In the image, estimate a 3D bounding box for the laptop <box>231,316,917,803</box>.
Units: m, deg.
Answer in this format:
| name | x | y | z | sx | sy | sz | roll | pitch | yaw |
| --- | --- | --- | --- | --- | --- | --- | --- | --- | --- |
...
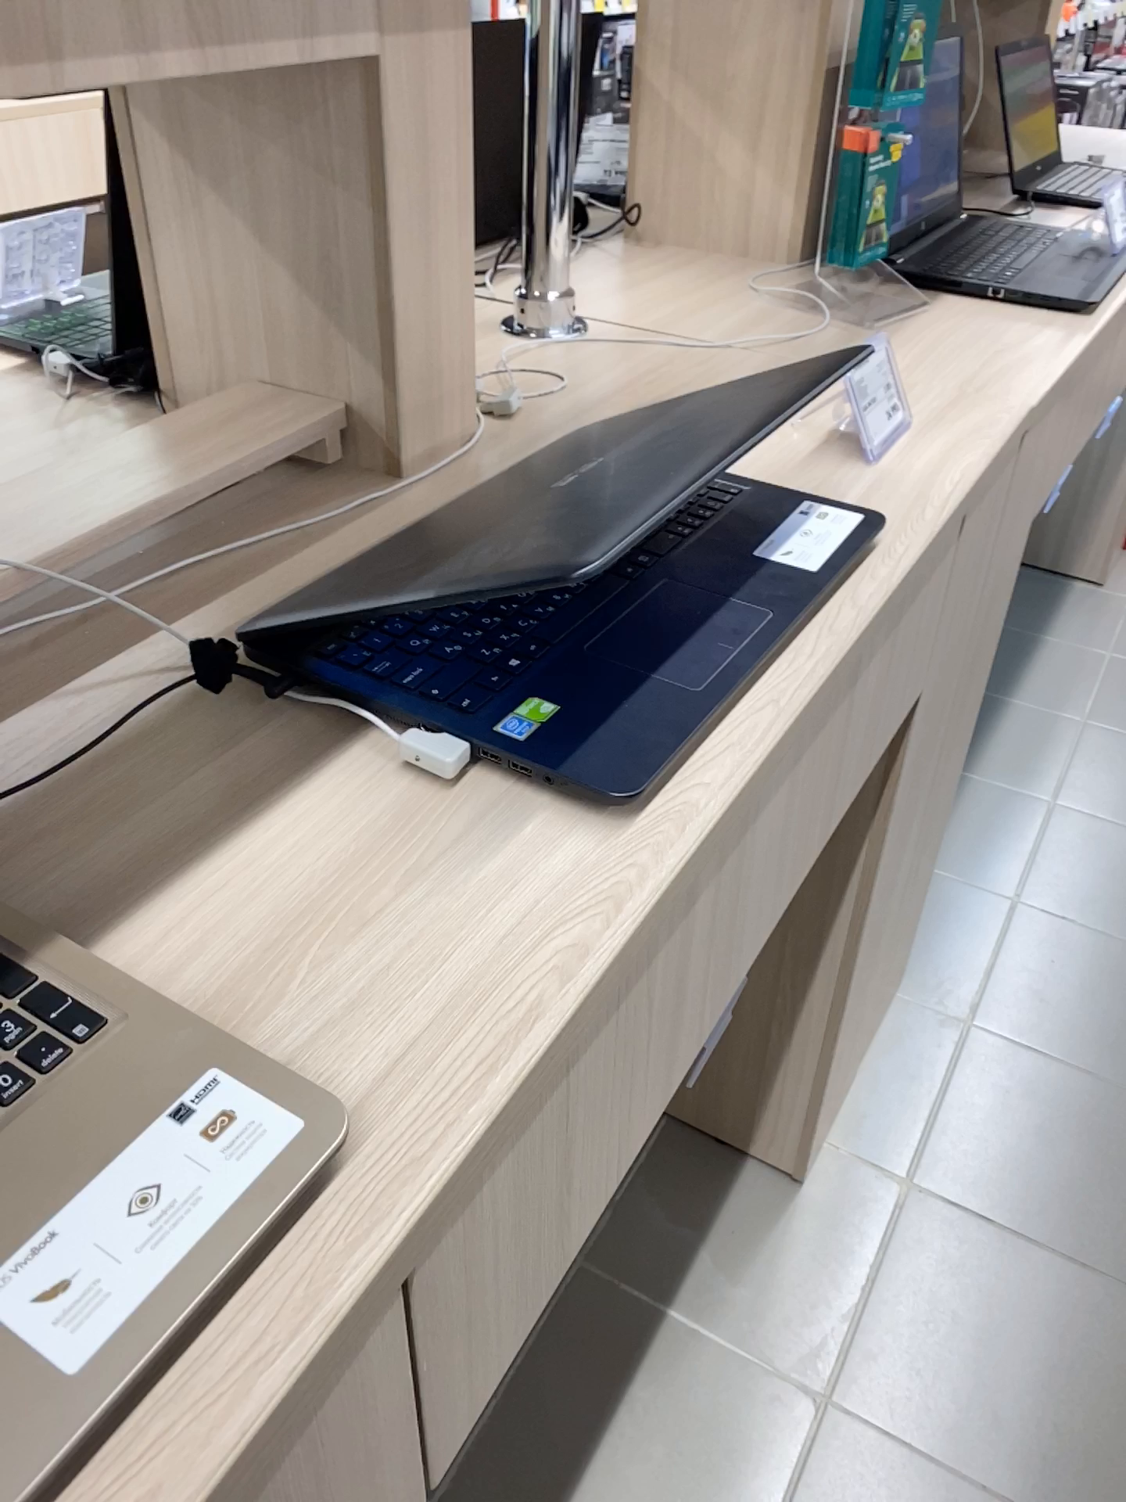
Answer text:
| name | x | y | z | sx | sy | sz | roll | pitch | yaw |
| --- | --- | --- | --- | --- | --- | --- | --- | --- | --- |
| laptop | 0.032 | -0.148 | 0.692 | 0.236 | 0.098 | 0.387 | 22 | 39 | 23 |
